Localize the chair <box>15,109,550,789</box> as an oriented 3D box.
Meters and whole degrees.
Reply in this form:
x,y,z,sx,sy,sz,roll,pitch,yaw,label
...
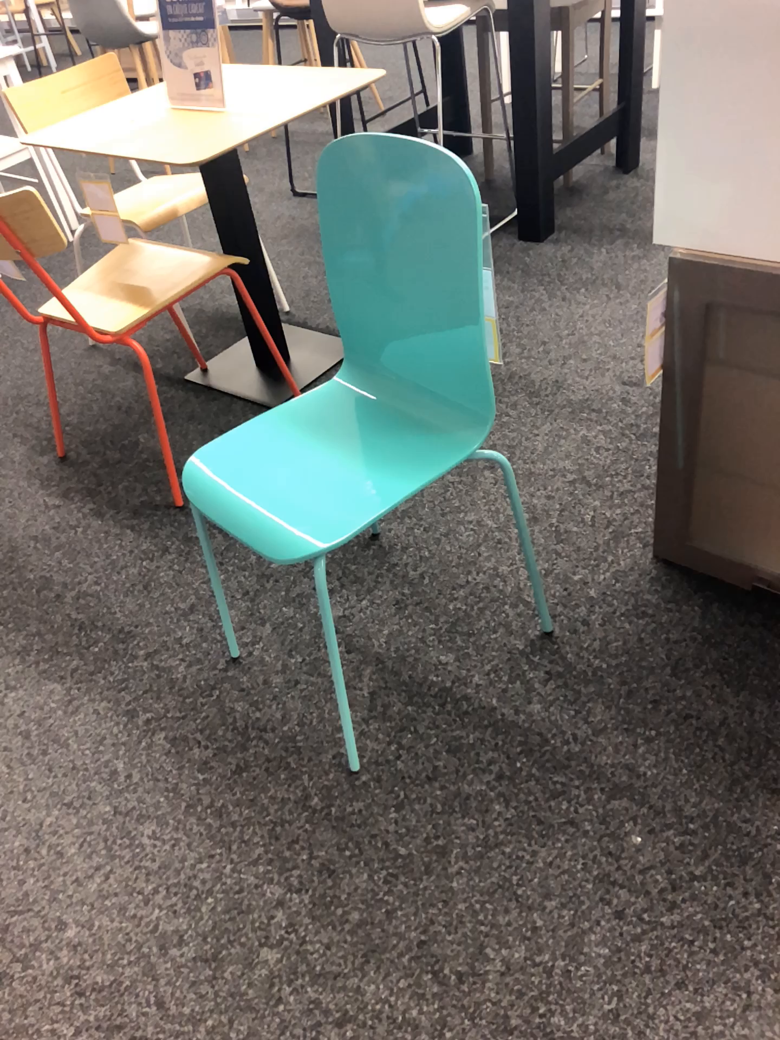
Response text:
x,y,z,sx,sy,sz,roll,pitch,yaw,label
-0.104,-0.116,1.389,0.502,0.865,0.491,-35,44,-27,chair
